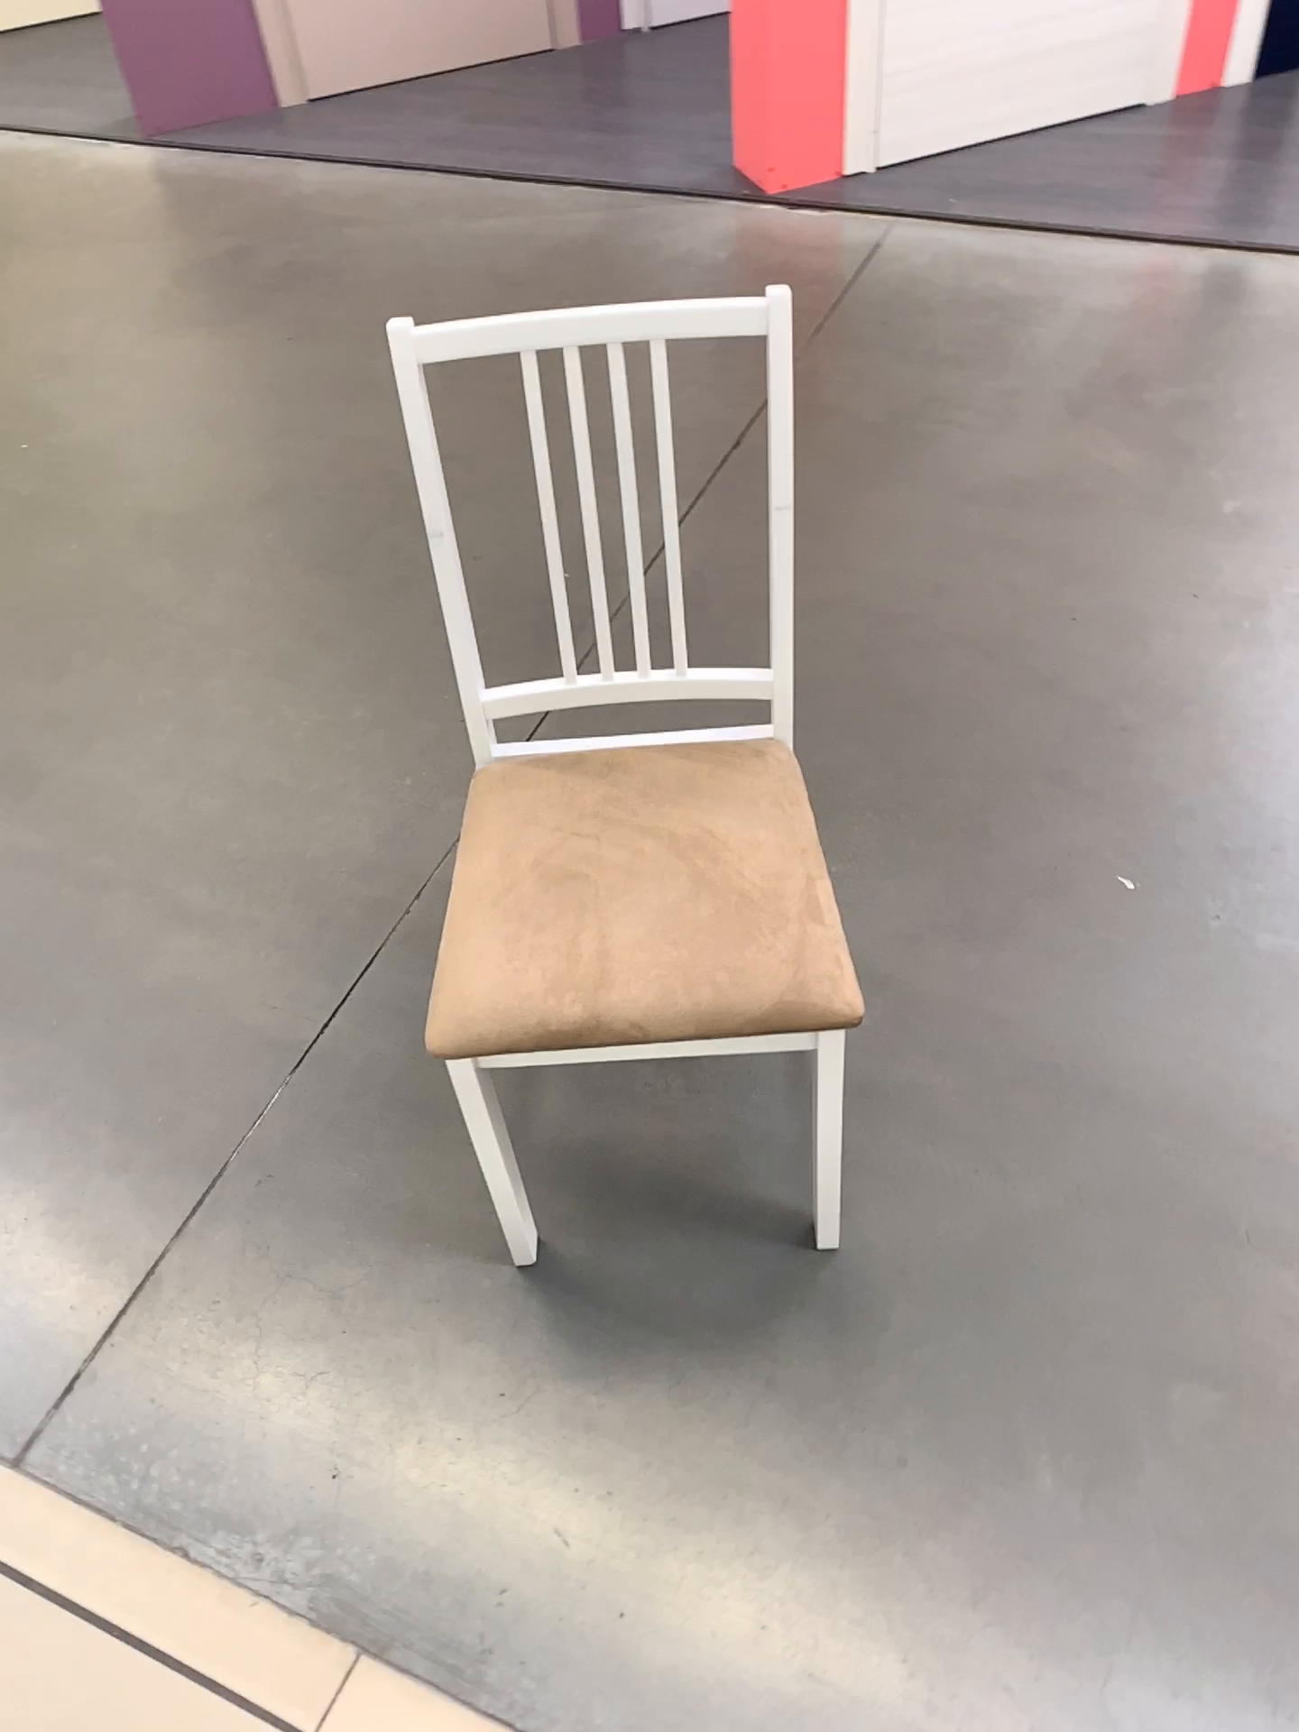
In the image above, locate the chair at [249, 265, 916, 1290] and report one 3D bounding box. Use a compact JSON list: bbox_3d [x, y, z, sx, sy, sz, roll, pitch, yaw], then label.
[{"bbox_3d":[-0.022,-0.033,1.257,0.400,0.817,0.502,-6,47,1],"label":"chair"}]
